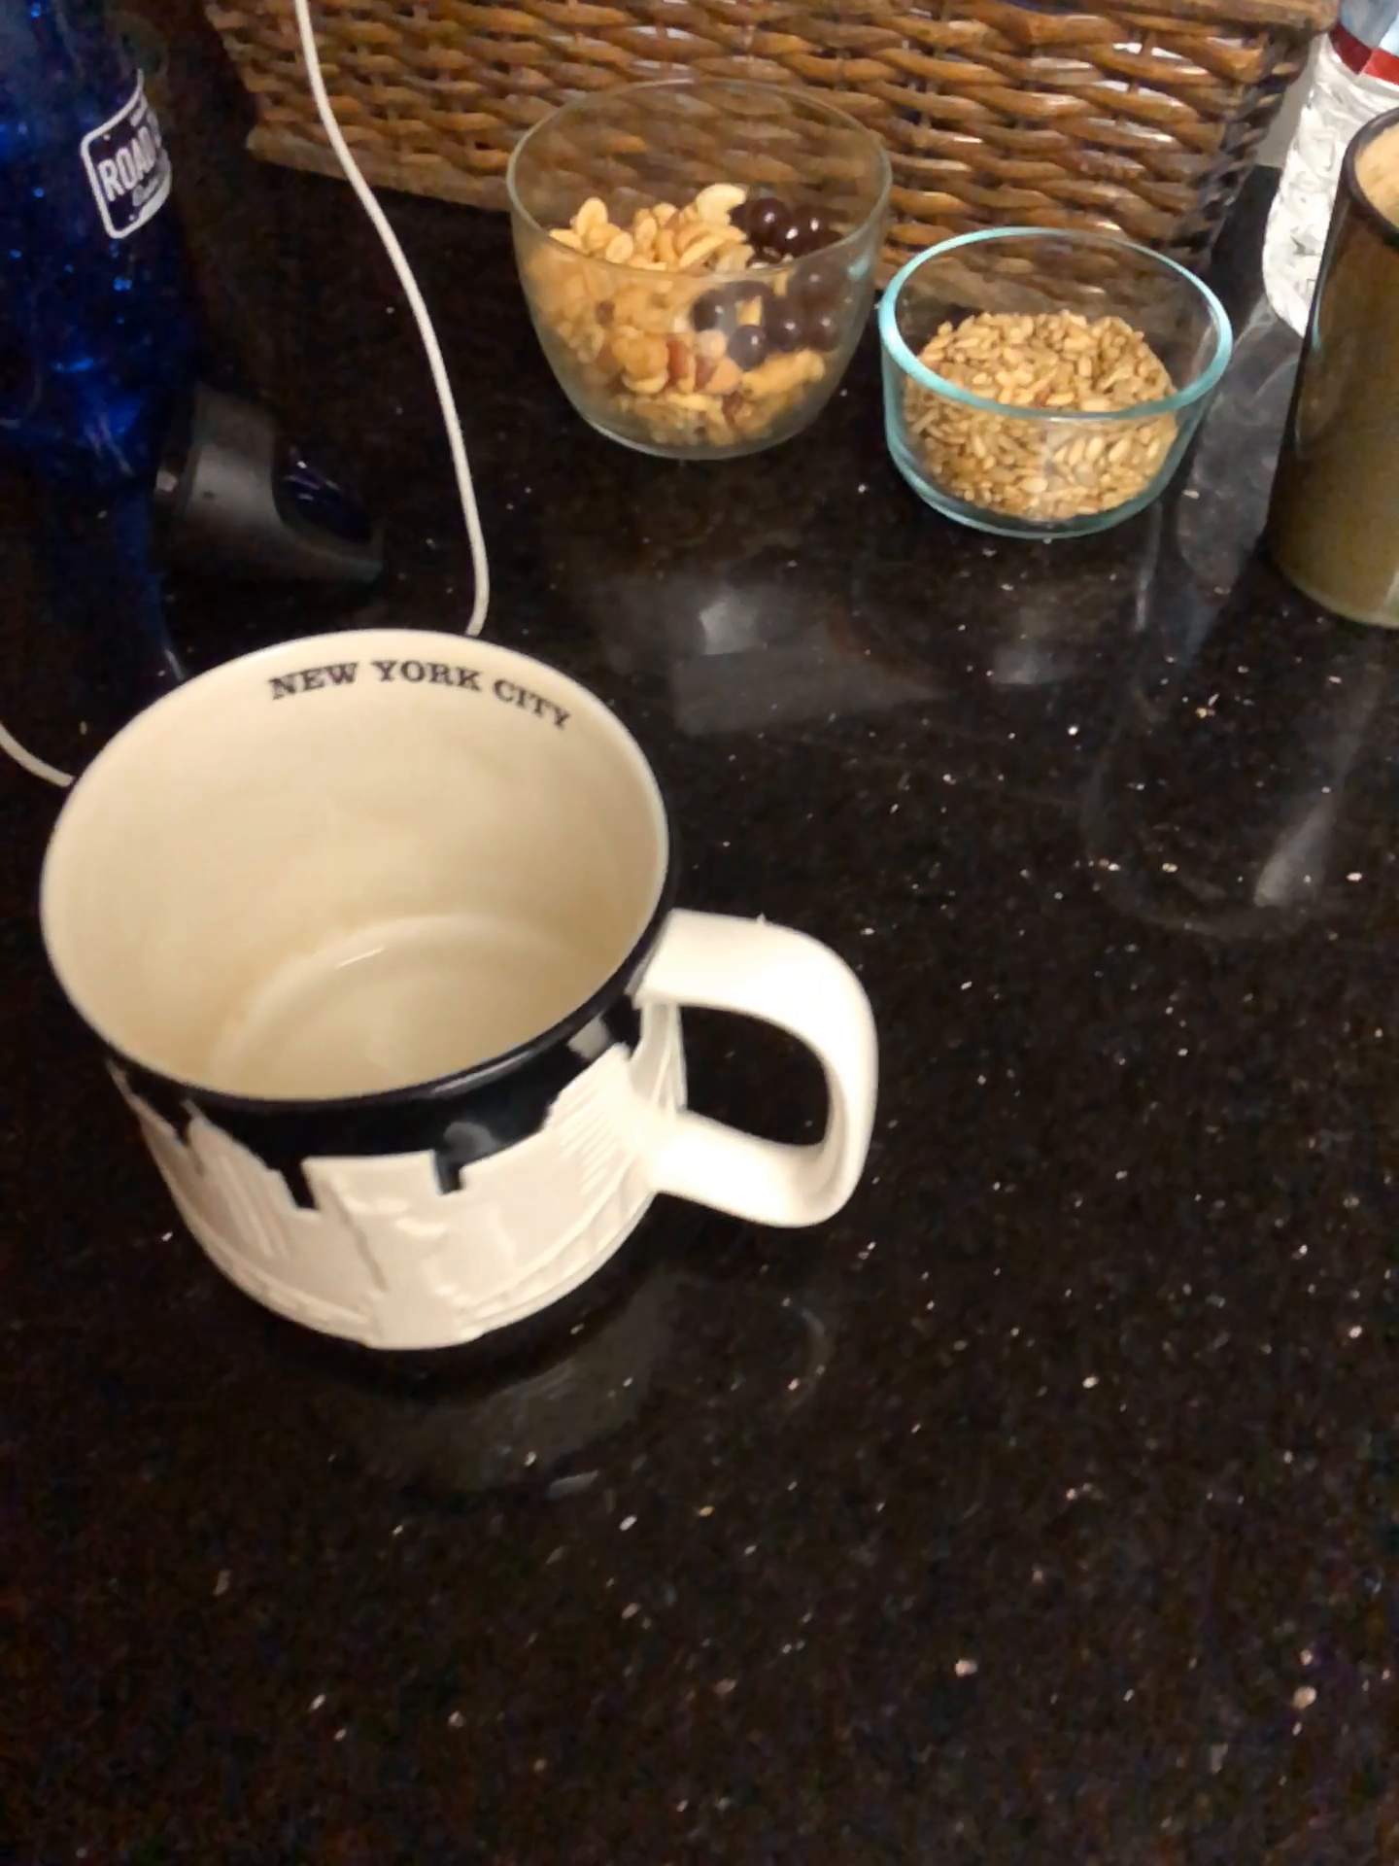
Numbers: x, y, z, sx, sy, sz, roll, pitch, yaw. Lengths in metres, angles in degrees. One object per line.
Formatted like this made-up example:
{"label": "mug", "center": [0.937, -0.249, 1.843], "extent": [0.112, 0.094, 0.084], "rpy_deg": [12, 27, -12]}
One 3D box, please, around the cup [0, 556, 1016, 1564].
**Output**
{"label": "cup", "center": [-0.036, 0.019, 0.289], "extent": [0.150, 0.090, 0.120], "rpy_deg": [17, 55, 12]}
